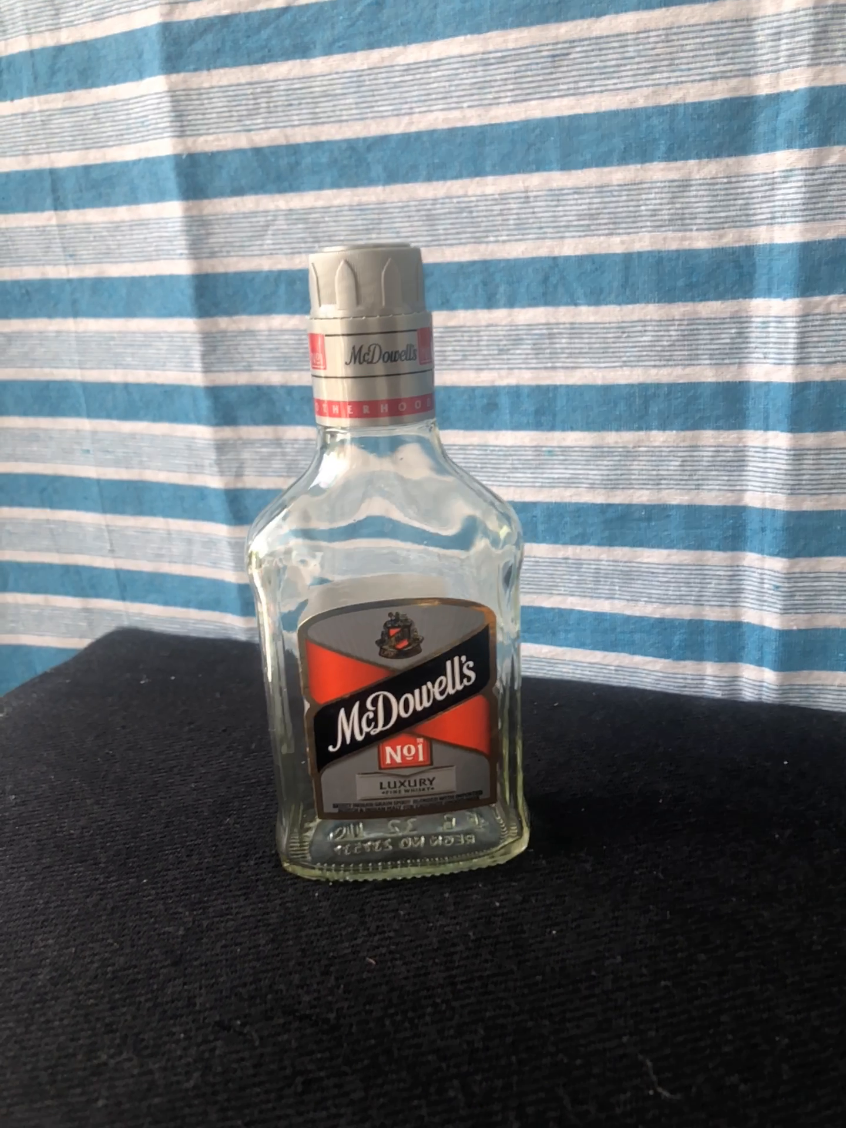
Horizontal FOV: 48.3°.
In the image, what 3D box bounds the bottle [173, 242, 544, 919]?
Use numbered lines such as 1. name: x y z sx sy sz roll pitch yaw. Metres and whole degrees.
1. bottle: -0.011 0.003 0.225 0.070 0.149 0.050 -3 19 -4
